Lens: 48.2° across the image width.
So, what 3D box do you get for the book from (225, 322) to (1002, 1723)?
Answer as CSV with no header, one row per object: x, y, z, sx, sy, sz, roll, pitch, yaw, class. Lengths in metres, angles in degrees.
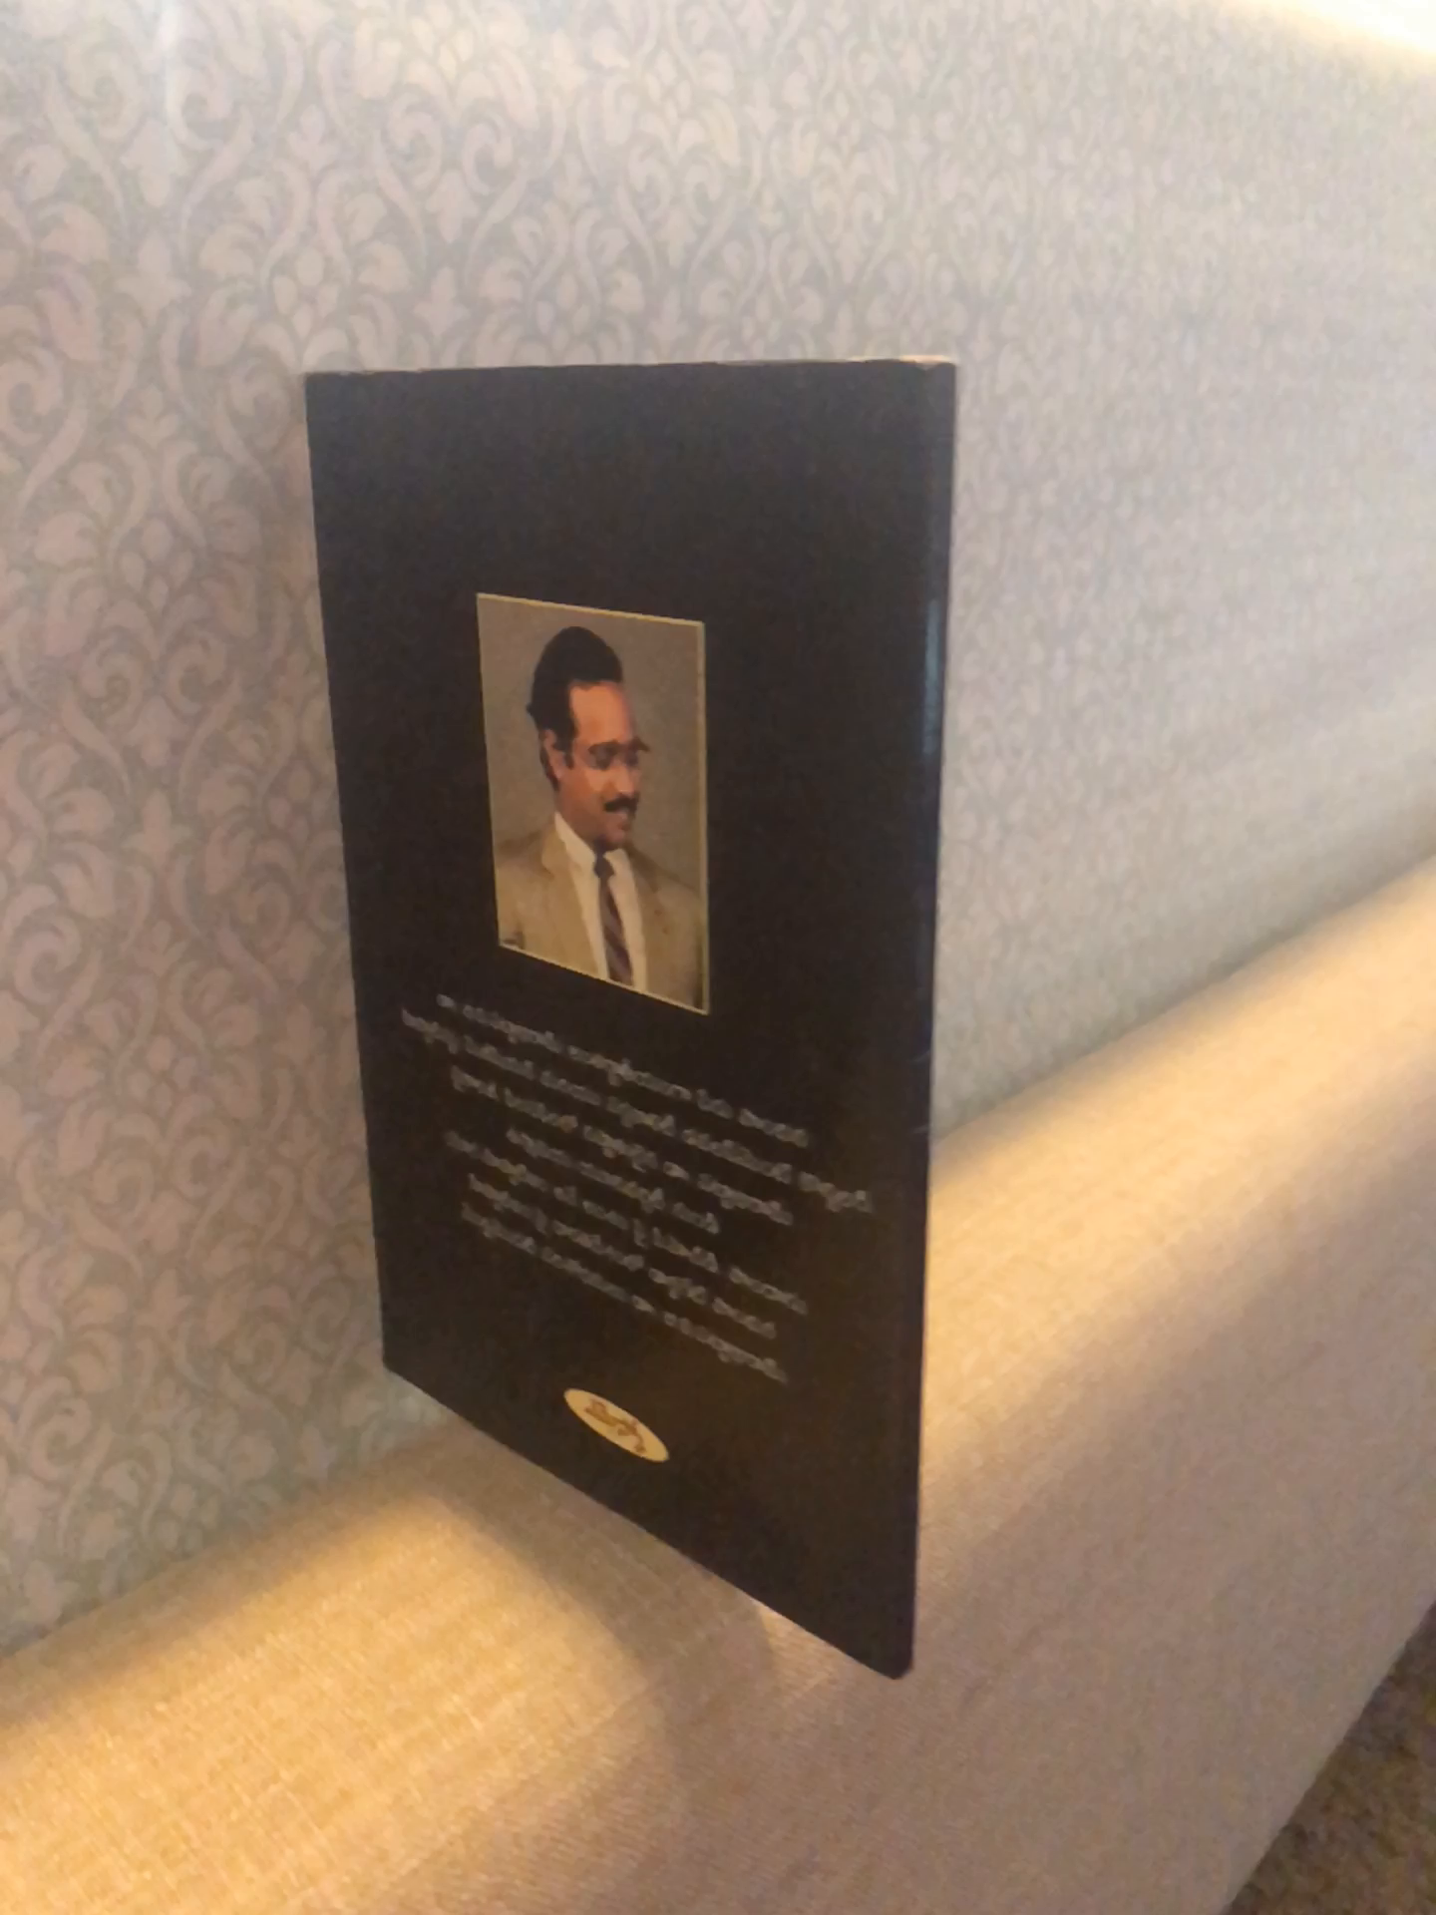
-0.019,0.006,0.232,0.127,0.175,0.011,13,23,39,book
